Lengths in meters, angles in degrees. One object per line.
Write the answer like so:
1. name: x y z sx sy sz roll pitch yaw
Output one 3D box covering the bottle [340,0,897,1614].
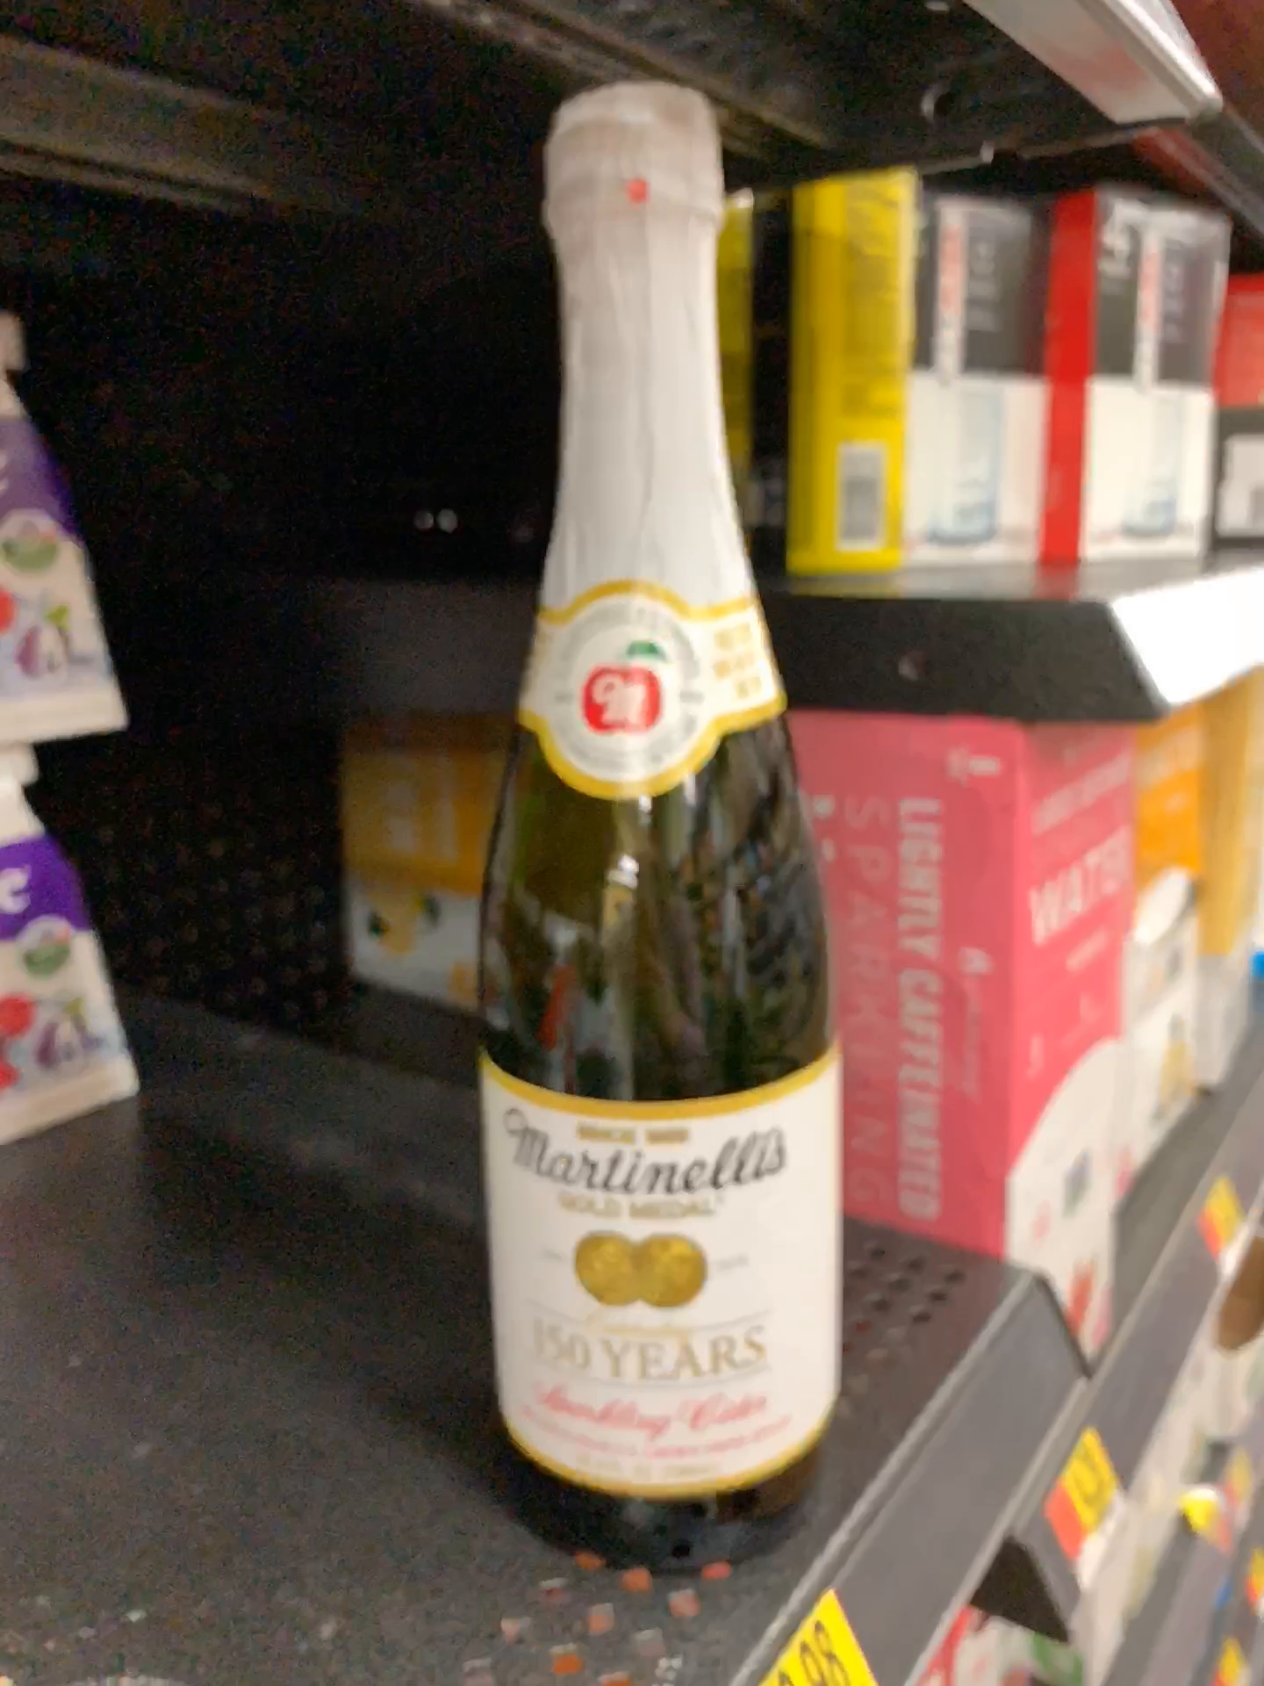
1. bottle: 0.004 0.001 0.294 0.089 0.299 0.090 0 14 0
